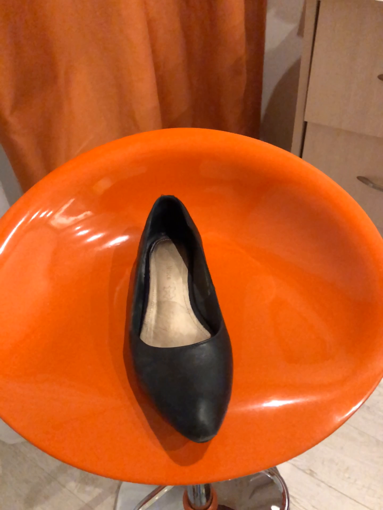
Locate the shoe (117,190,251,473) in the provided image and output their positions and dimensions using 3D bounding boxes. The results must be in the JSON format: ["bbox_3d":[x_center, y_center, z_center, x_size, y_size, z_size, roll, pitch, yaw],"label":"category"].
[{"bbox_3d":[-0.019,0.051,0.405,0.090,0.079,0.262,-7,44,-3],"label":"shoe"}]
